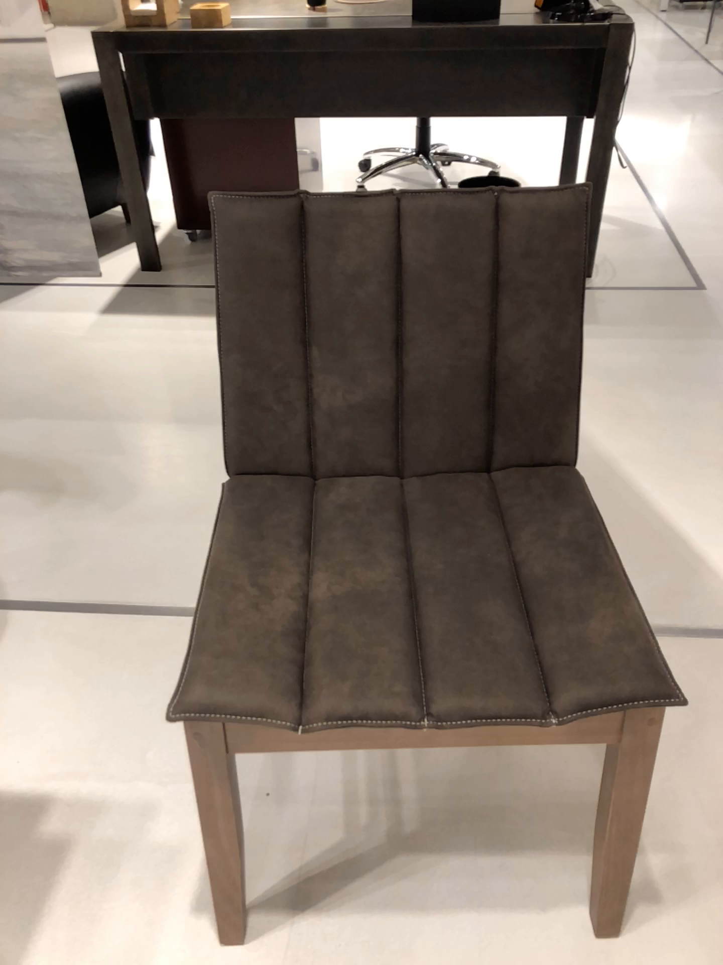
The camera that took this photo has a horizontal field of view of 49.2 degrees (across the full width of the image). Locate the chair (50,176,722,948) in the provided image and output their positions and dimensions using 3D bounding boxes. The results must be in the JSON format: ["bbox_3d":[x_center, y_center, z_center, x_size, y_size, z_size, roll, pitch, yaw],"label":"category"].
[{"bbox_3d":[0.070,0.108,1.001,0.540,0.774,0.574,-2,37,2],"label":"chair"}]
